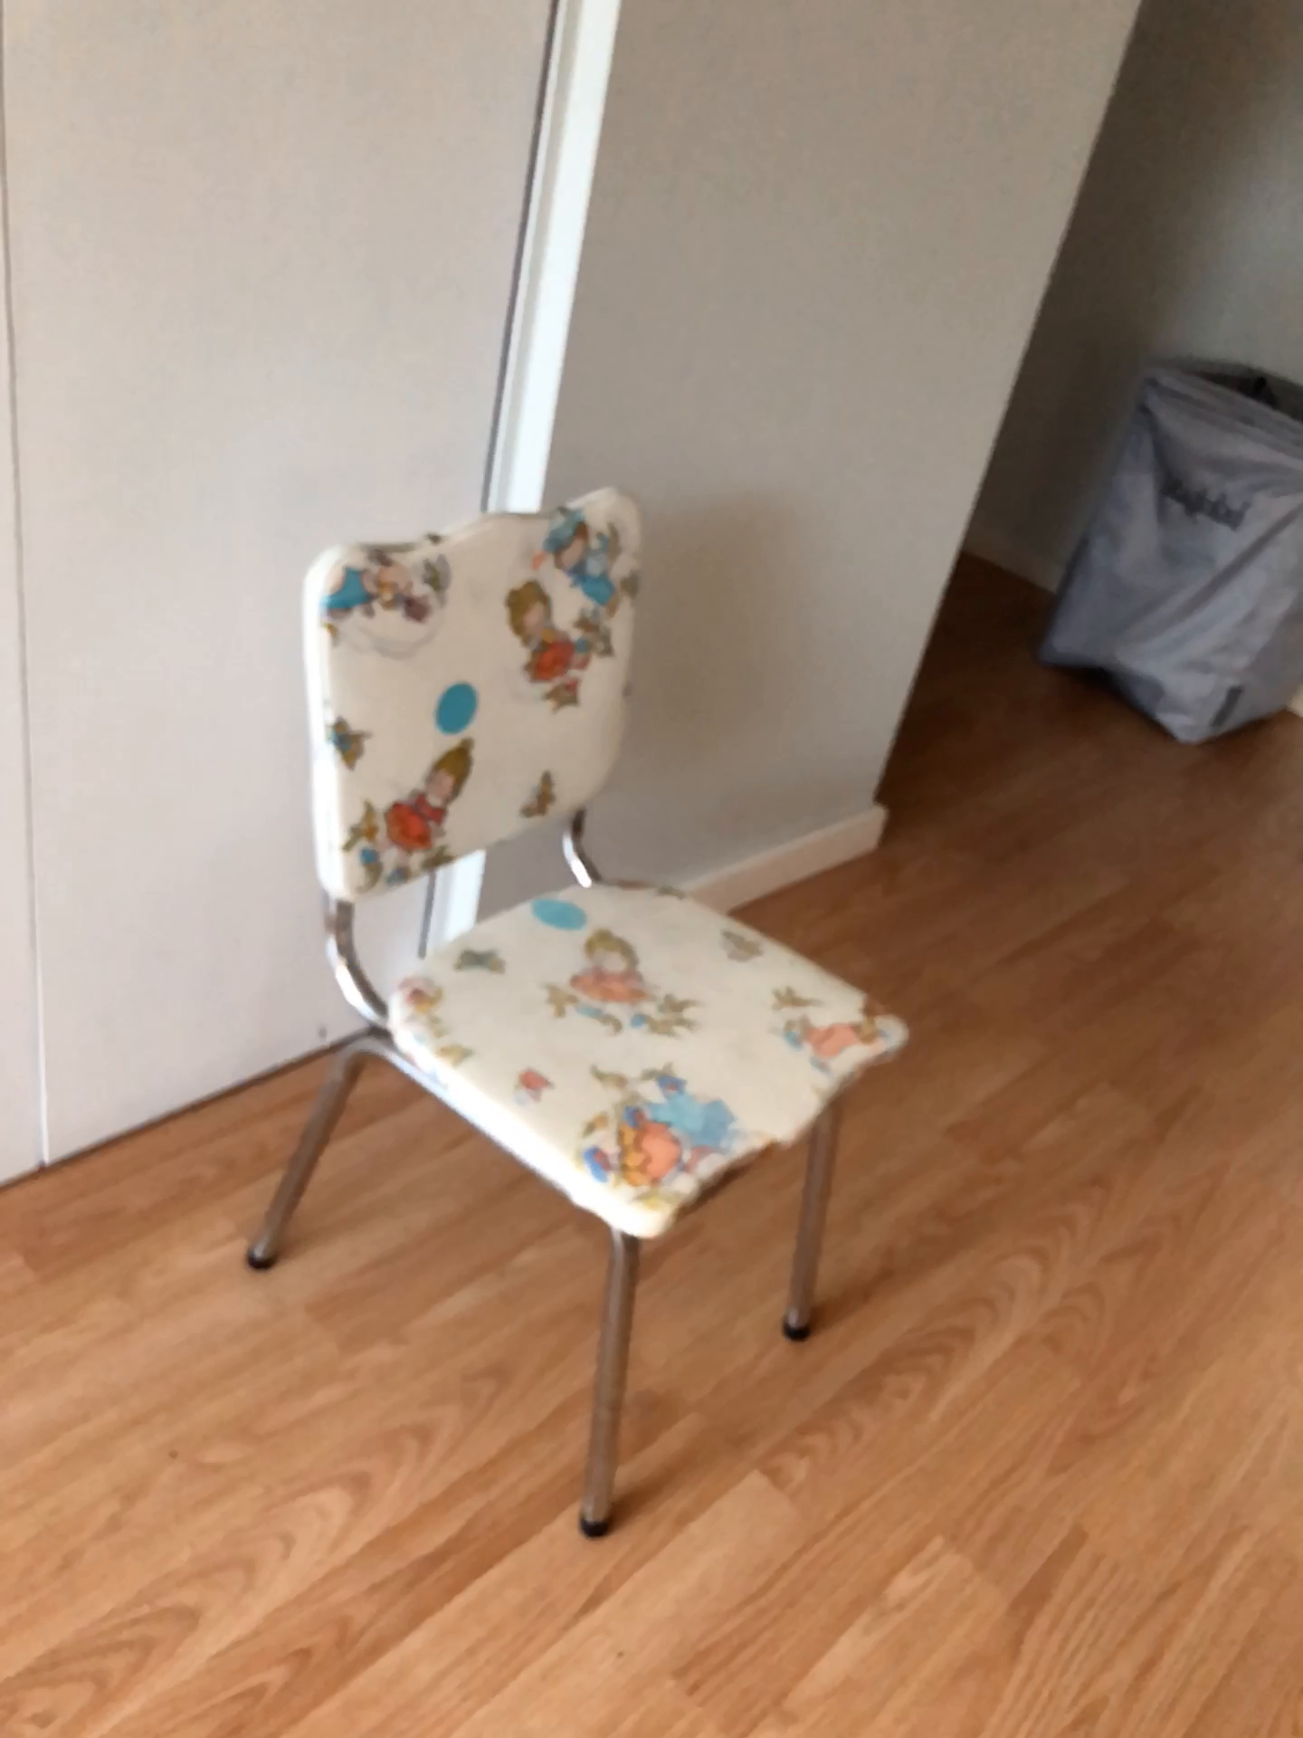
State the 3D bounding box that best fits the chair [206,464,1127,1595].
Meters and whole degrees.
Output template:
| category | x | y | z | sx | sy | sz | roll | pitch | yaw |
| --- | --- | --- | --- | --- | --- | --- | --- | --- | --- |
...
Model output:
| category | x | y | z | sx | sy | sz | roll | pitch | yaw |
| --- | --- | --- | --- | --- | --- | --- | --- | --- | --- |
| chair | -0.027 | 0.084 | 0.989 | 0.390 | 0.558 | 0.351 | 33 | 37 | 28 |
